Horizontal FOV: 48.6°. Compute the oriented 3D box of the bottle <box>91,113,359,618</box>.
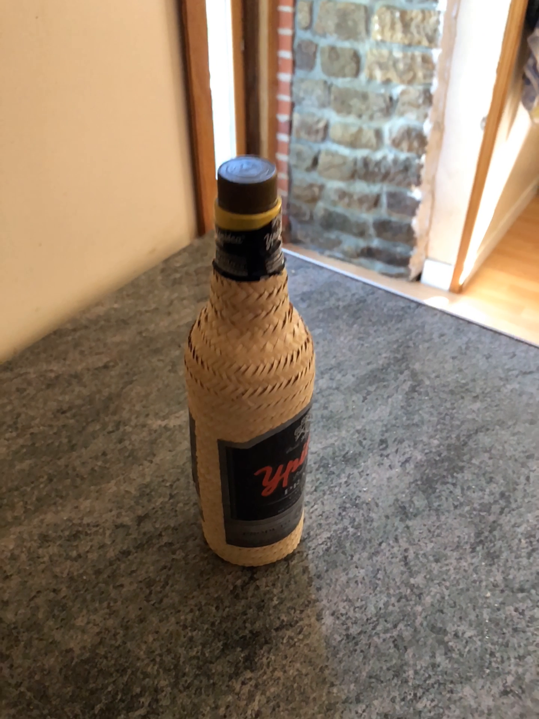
[{"bbox_3d":[-0.017,0.022,0.354,0.080,0.288,0.091,23,44,26],"label":"bottle"}]
